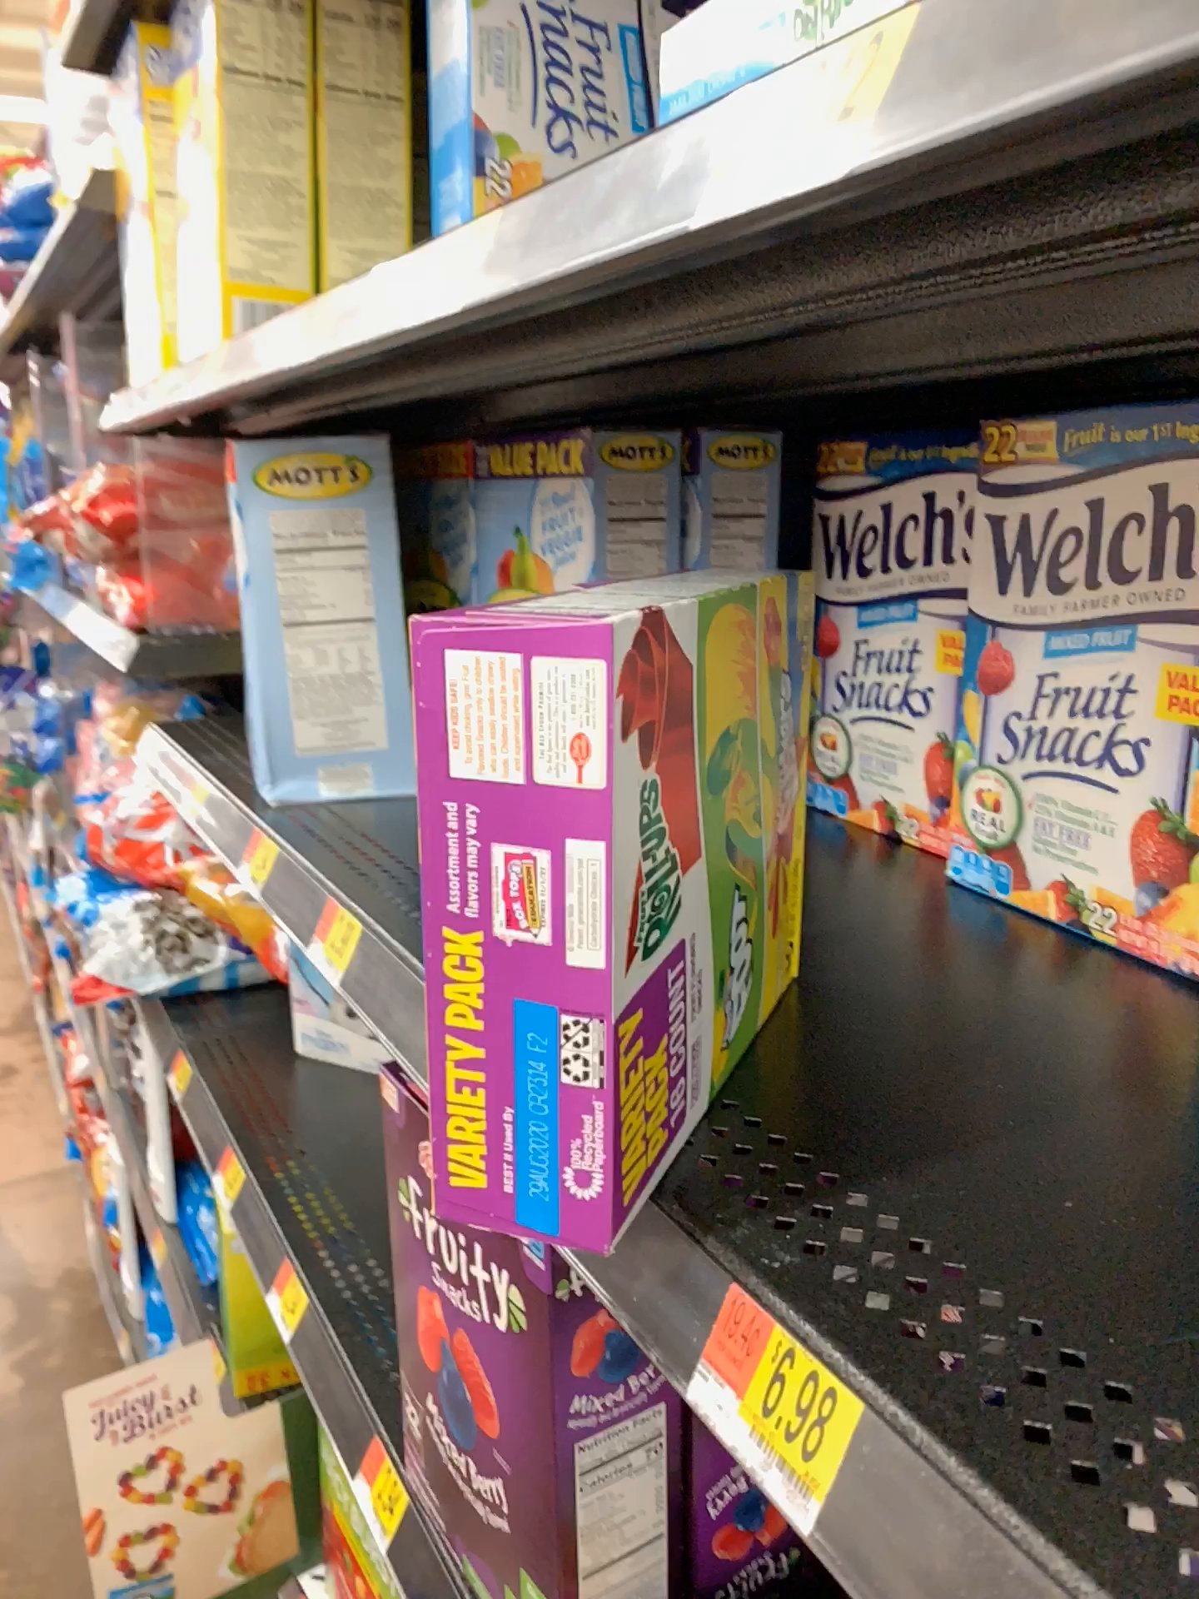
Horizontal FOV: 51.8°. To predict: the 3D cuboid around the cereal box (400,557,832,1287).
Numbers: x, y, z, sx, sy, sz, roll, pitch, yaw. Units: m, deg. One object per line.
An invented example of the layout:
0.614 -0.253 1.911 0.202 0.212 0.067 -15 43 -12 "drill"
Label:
0.022 0.014 0.405 0.060 0.169 0.221 5 15 21 "cereal box"
